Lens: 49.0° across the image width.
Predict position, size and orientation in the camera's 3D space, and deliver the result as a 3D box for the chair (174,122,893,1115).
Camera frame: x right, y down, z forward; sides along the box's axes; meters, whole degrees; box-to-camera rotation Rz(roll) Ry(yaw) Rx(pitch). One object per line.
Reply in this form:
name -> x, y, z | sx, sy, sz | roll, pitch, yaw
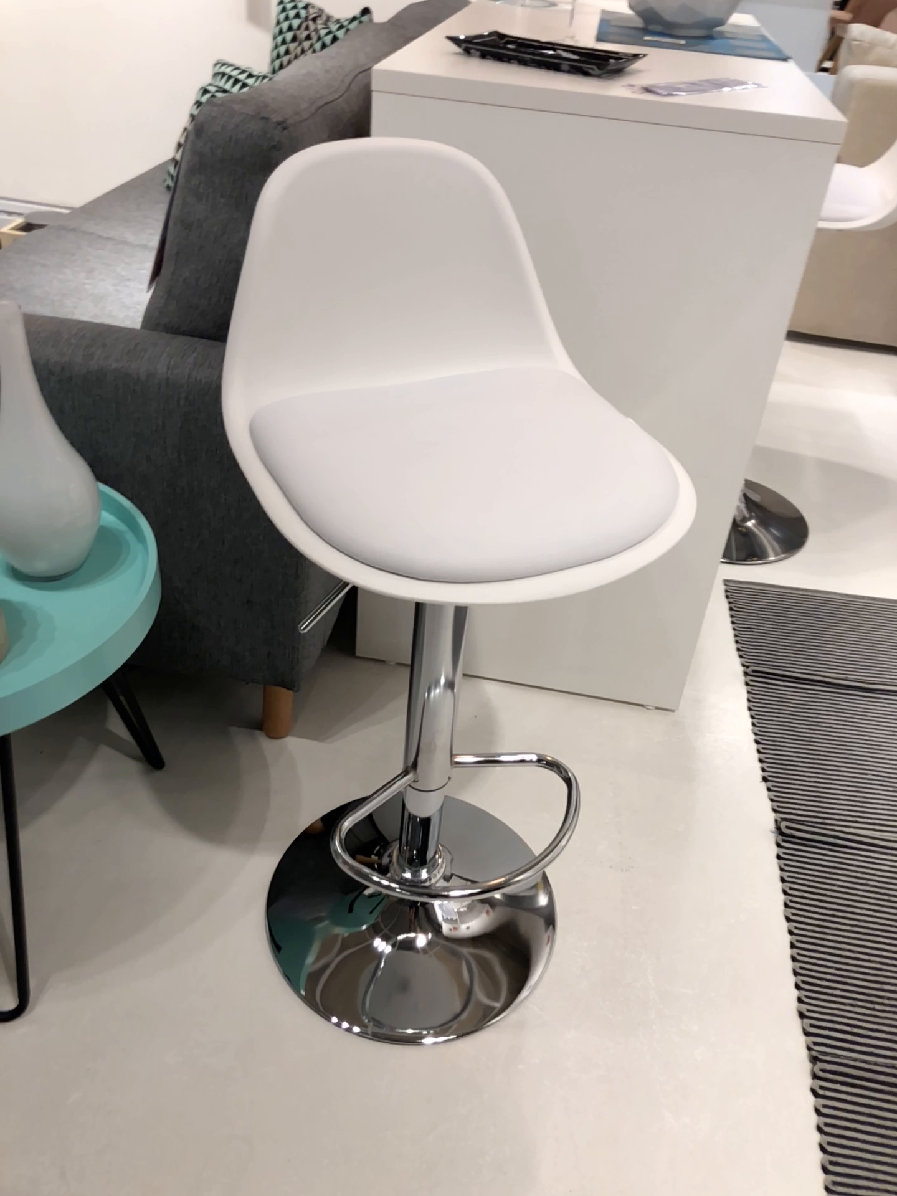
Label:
chair -> -0.002, 0.041, 1.010 | 0.411, 0.883, 0.423 | -9, 39, -20
